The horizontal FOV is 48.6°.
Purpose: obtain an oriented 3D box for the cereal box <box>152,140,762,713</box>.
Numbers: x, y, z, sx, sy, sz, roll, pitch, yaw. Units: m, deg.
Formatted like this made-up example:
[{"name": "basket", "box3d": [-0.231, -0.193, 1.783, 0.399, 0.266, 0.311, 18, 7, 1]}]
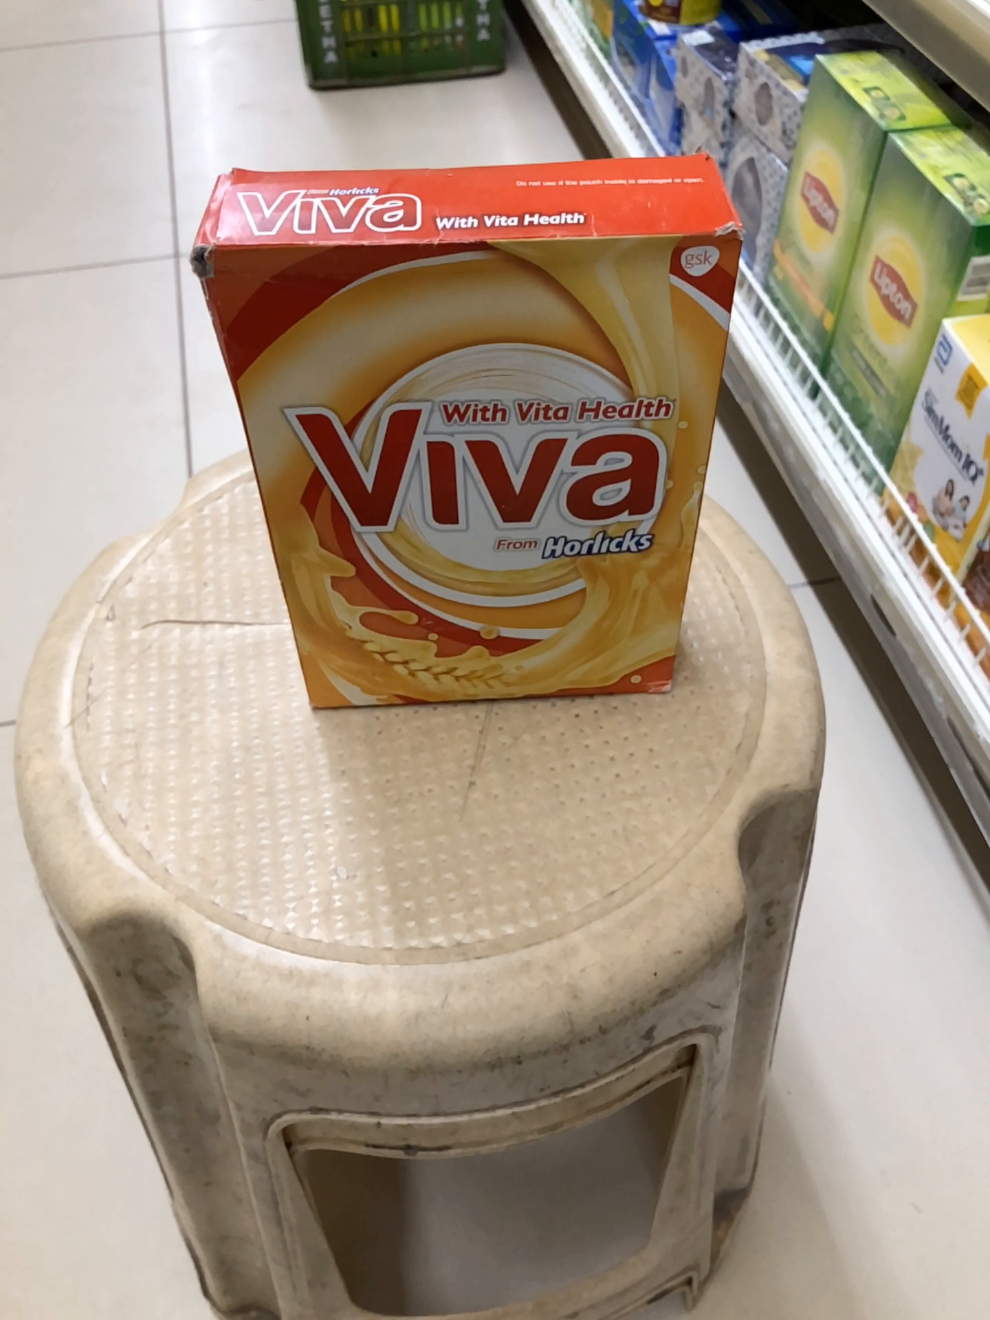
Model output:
[{"name": "cereal box", "box3d": [-0.009, -0.066, 0.380, 0.160, 0.199, 0.050, -3, 50, -1]}]
